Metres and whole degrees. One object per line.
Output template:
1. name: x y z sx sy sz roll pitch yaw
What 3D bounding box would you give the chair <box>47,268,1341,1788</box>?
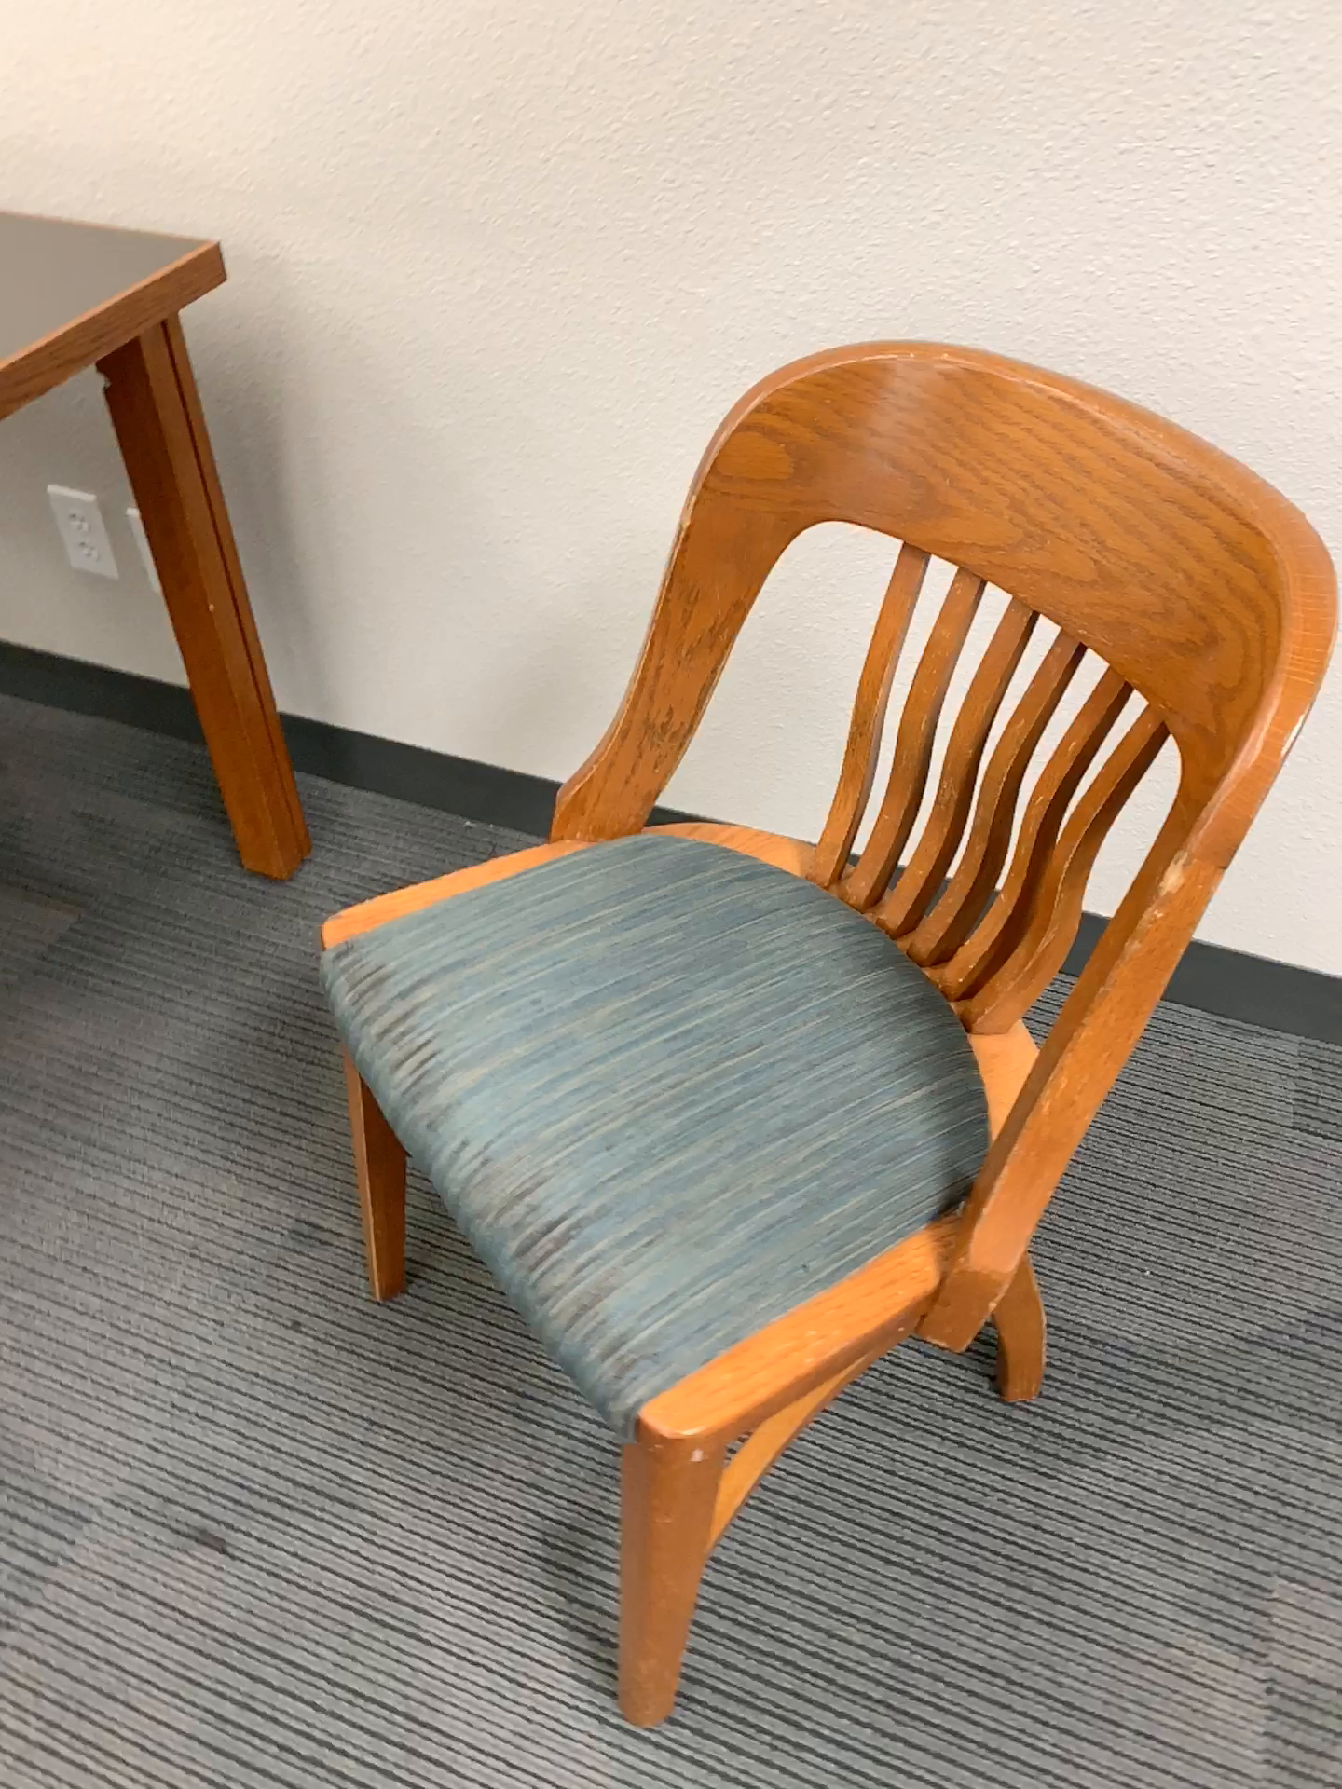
1. chair: 0.058 0.080 0.988 0.621 0.747 0.552 -25 49 -24
